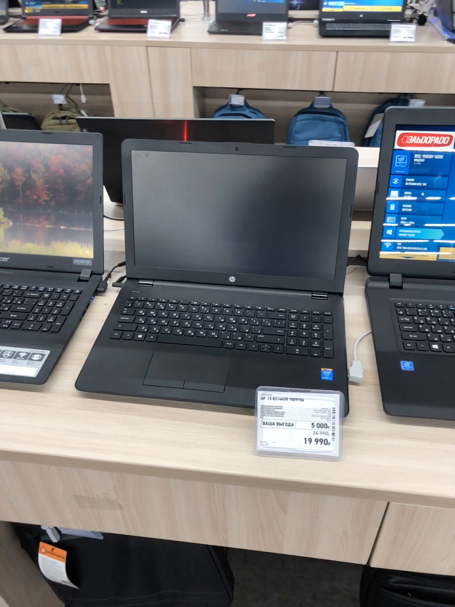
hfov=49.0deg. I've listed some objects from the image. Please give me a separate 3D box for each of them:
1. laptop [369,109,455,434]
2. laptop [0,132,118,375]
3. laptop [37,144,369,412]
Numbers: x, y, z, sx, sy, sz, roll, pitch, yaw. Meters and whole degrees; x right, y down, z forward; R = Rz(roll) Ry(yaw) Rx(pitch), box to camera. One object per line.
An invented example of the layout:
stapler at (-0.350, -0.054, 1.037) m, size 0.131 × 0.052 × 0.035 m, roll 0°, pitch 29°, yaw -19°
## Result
laptop at (0.430, -0.075, 0.703) m, size 0.396 × 0.267 × 0.397 m, roll 4°, pitch 39°, yaw 8°
laptop at (-0.434, -0.098, 0.805) m, size 0.359 × 0.226 × 0.352 m, roll 4°, pitch 39°, yaw 6°
laptop at (-0.016, -0.060, 0.751) m, size 0.377 × 0.215 × 0.335 m, roll 3°, pitch 41°, yaw 7°
